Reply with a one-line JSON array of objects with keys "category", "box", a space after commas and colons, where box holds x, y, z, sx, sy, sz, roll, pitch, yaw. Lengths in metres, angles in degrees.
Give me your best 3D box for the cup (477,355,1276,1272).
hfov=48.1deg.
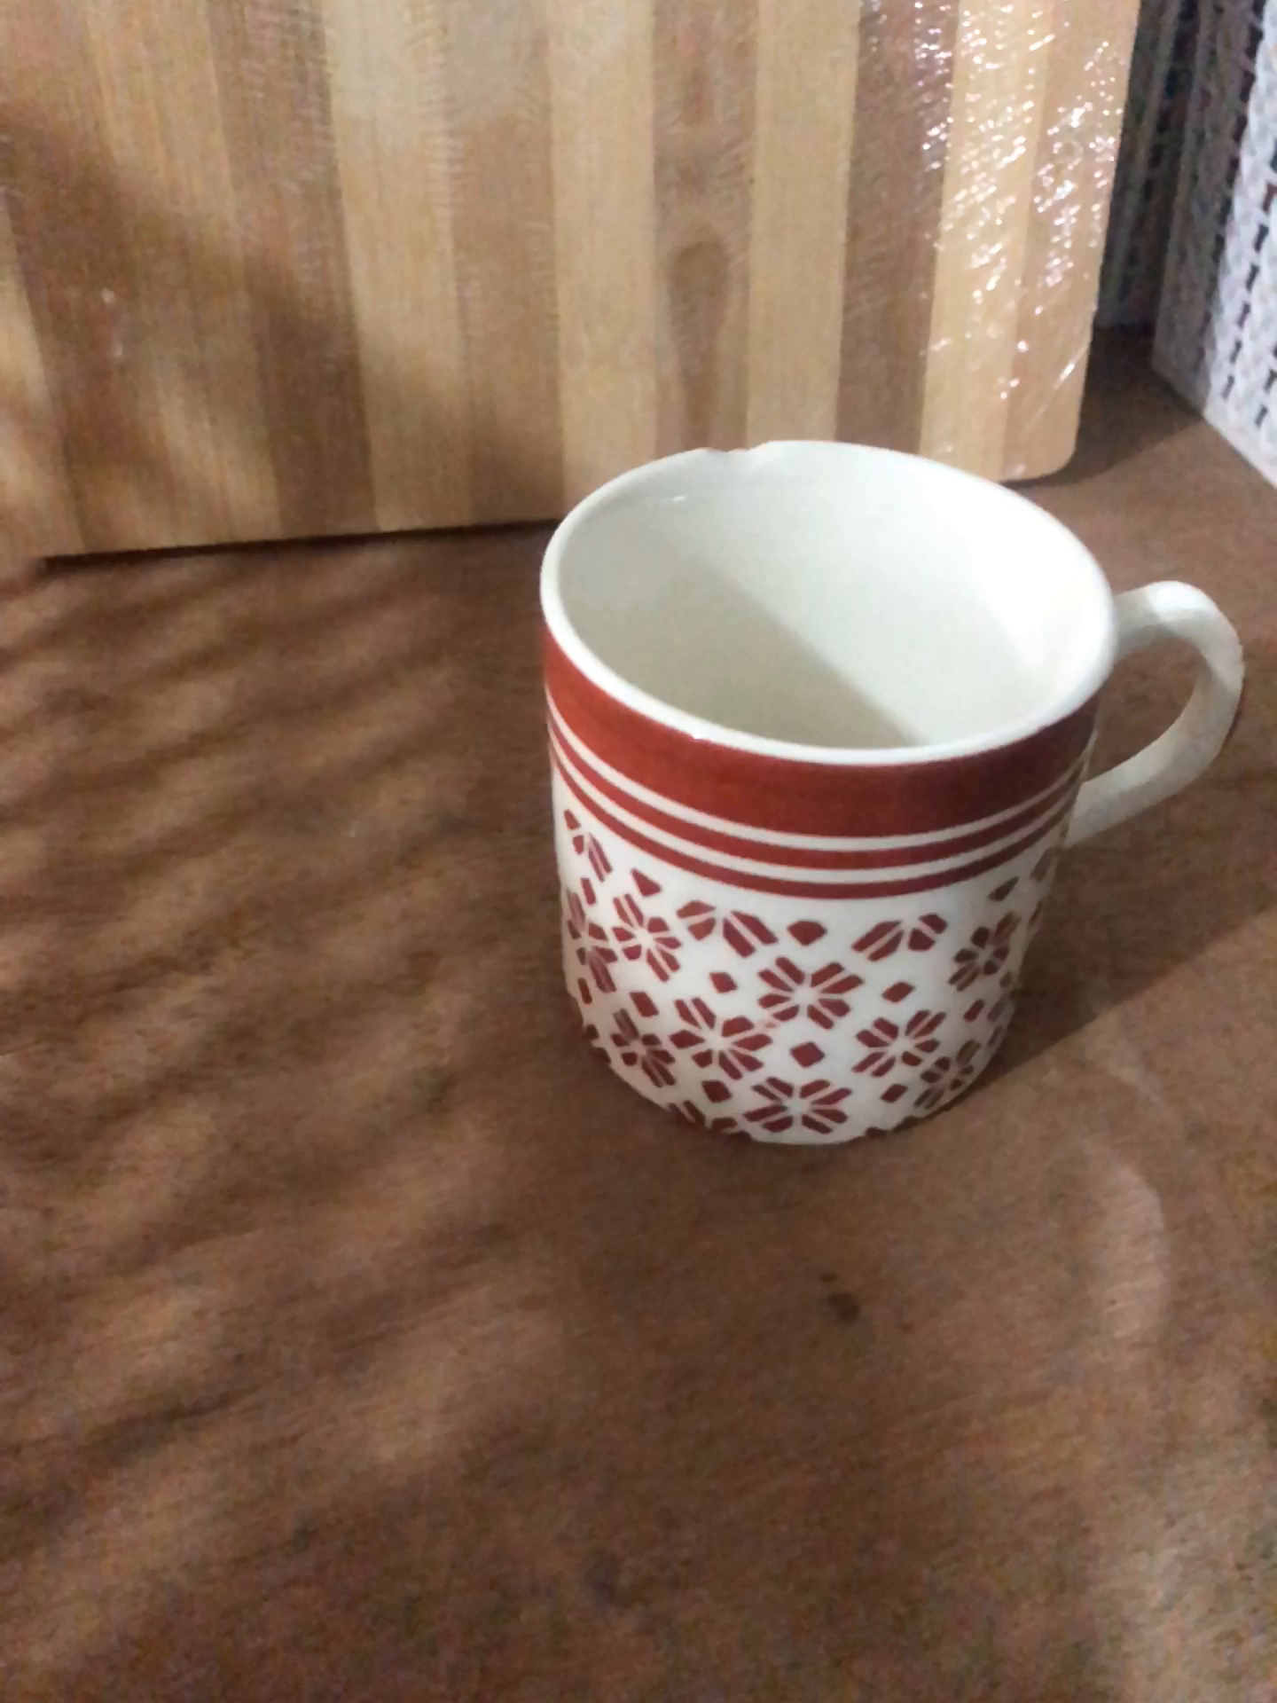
[{"category": "cup", "box": [0.034, -0.006, 0.183, 0.090, 0.080, 0.060, -14, 47, -14]}]
